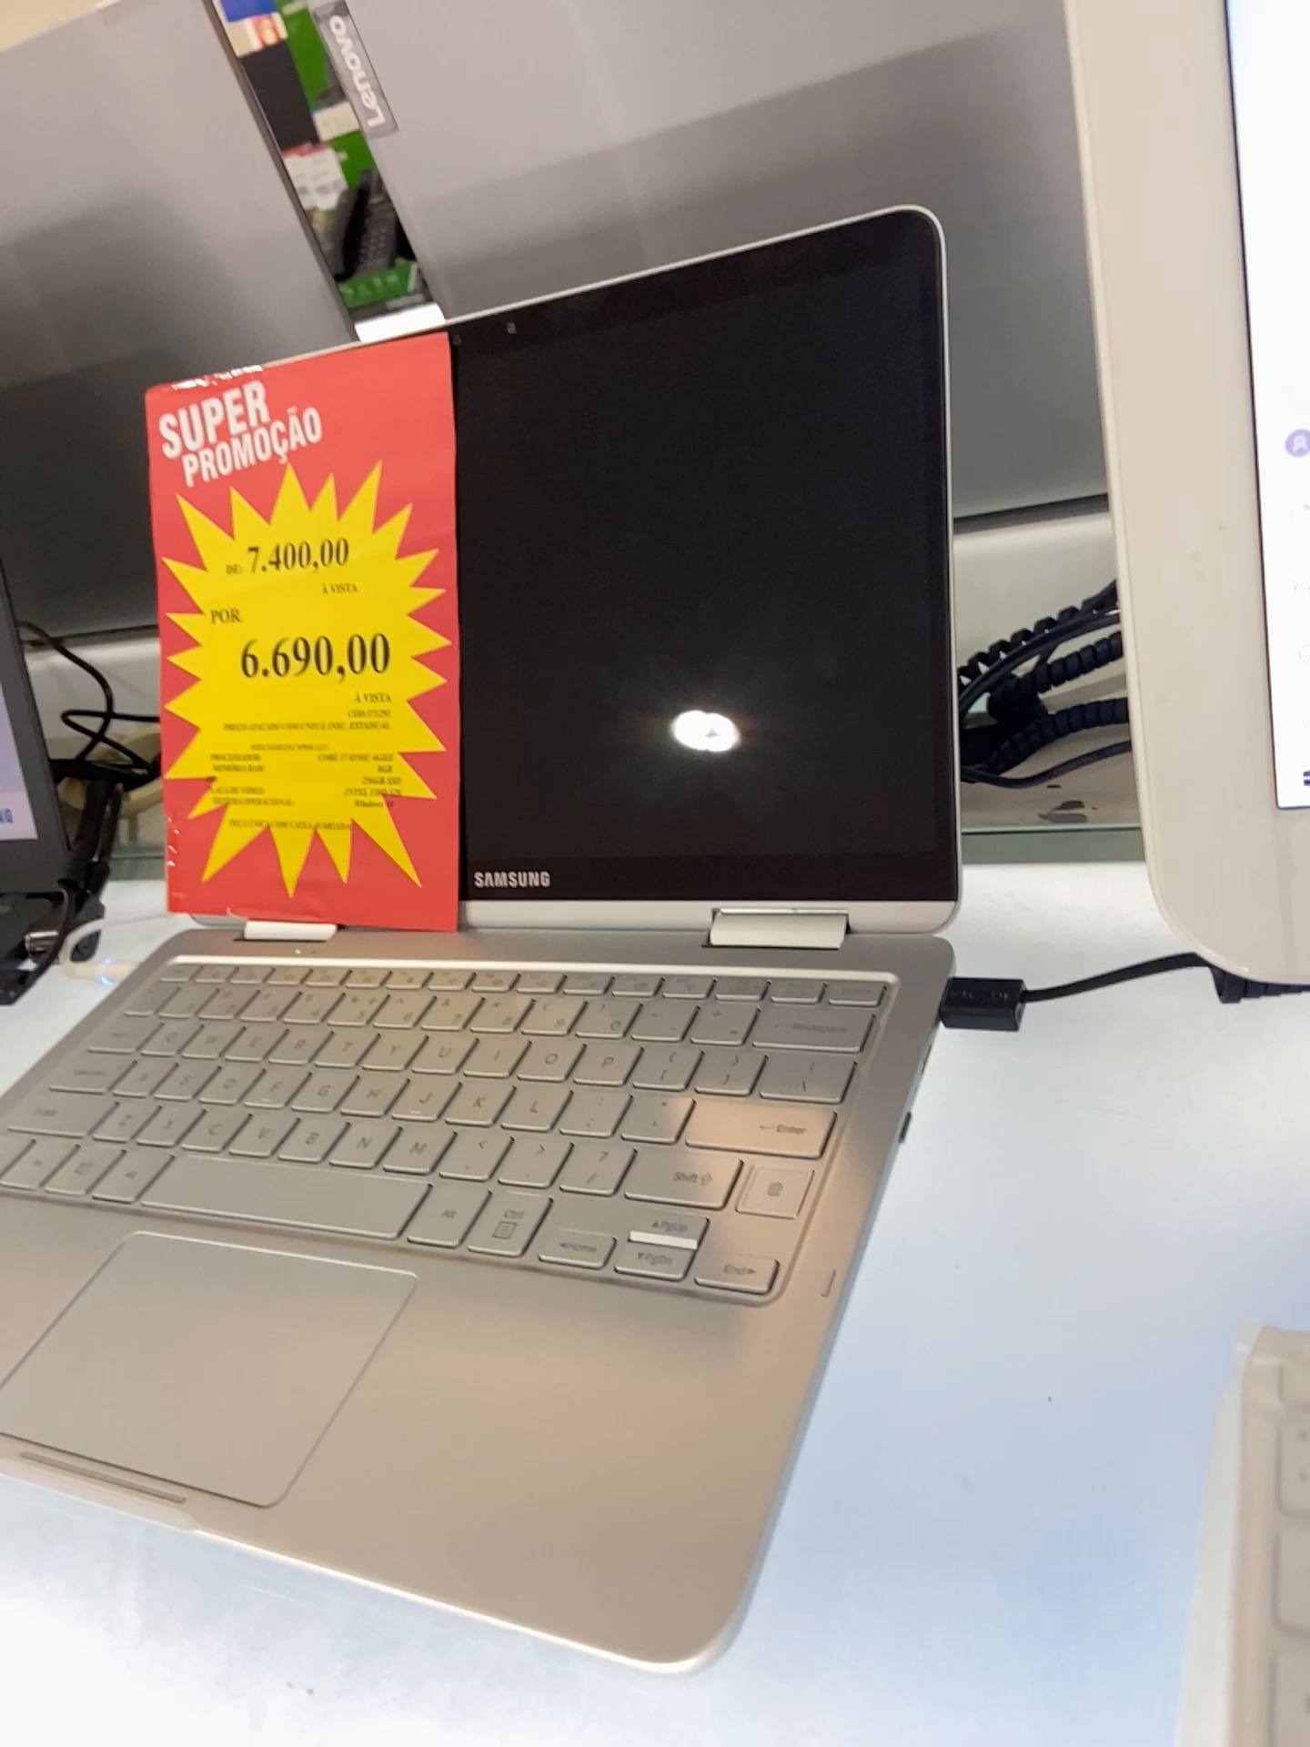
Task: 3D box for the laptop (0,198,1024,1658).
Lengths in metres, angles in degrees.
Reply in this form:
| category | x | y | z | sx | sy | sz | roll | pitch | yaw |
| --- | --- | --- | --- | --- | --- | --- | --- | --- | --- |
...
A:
| category | x | y | z | sx | sy | sz | roll | pitch | yaw |
| --- | --- | --- | --- | --- | --- | --- | --- | --- | --- |
| laptop | -0.092 | -0.023 | 0.374 | 0.305 | 0.170 | 0.311 | -2 | 34 | 29 |
